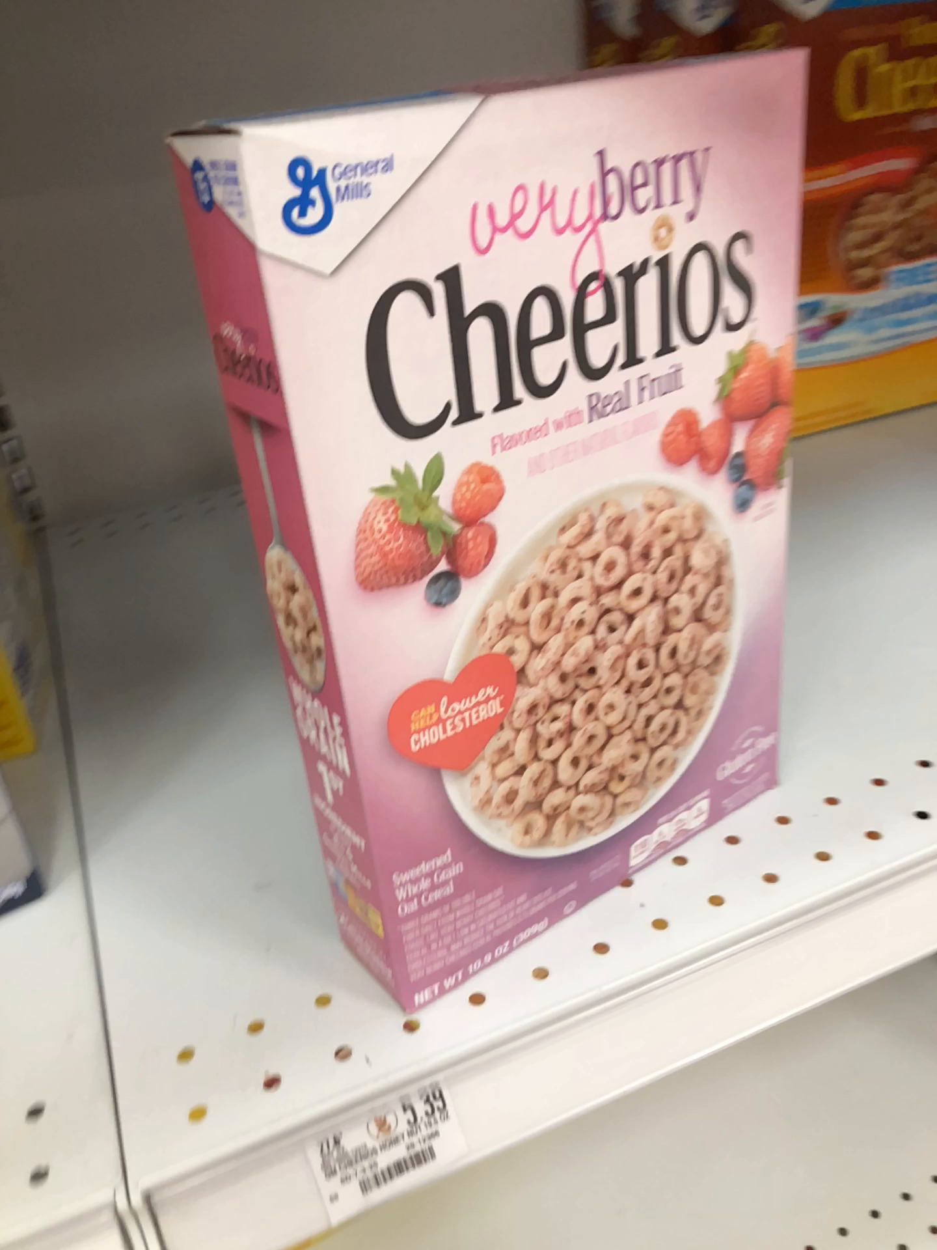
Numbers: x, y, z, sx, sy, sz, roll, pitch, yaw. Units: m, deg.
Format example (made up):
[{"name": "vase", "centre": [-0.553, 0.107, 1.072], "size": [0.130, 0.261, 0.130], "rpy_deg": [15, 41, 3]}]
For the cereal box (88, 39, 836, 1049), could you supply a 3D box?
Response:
[{"name": "cereal box", "centre": [0.019, -0.025, 0.345], "size": [0.200, 0.279, 0.060], "rpy_deg": [-23, 34, -27]}]
